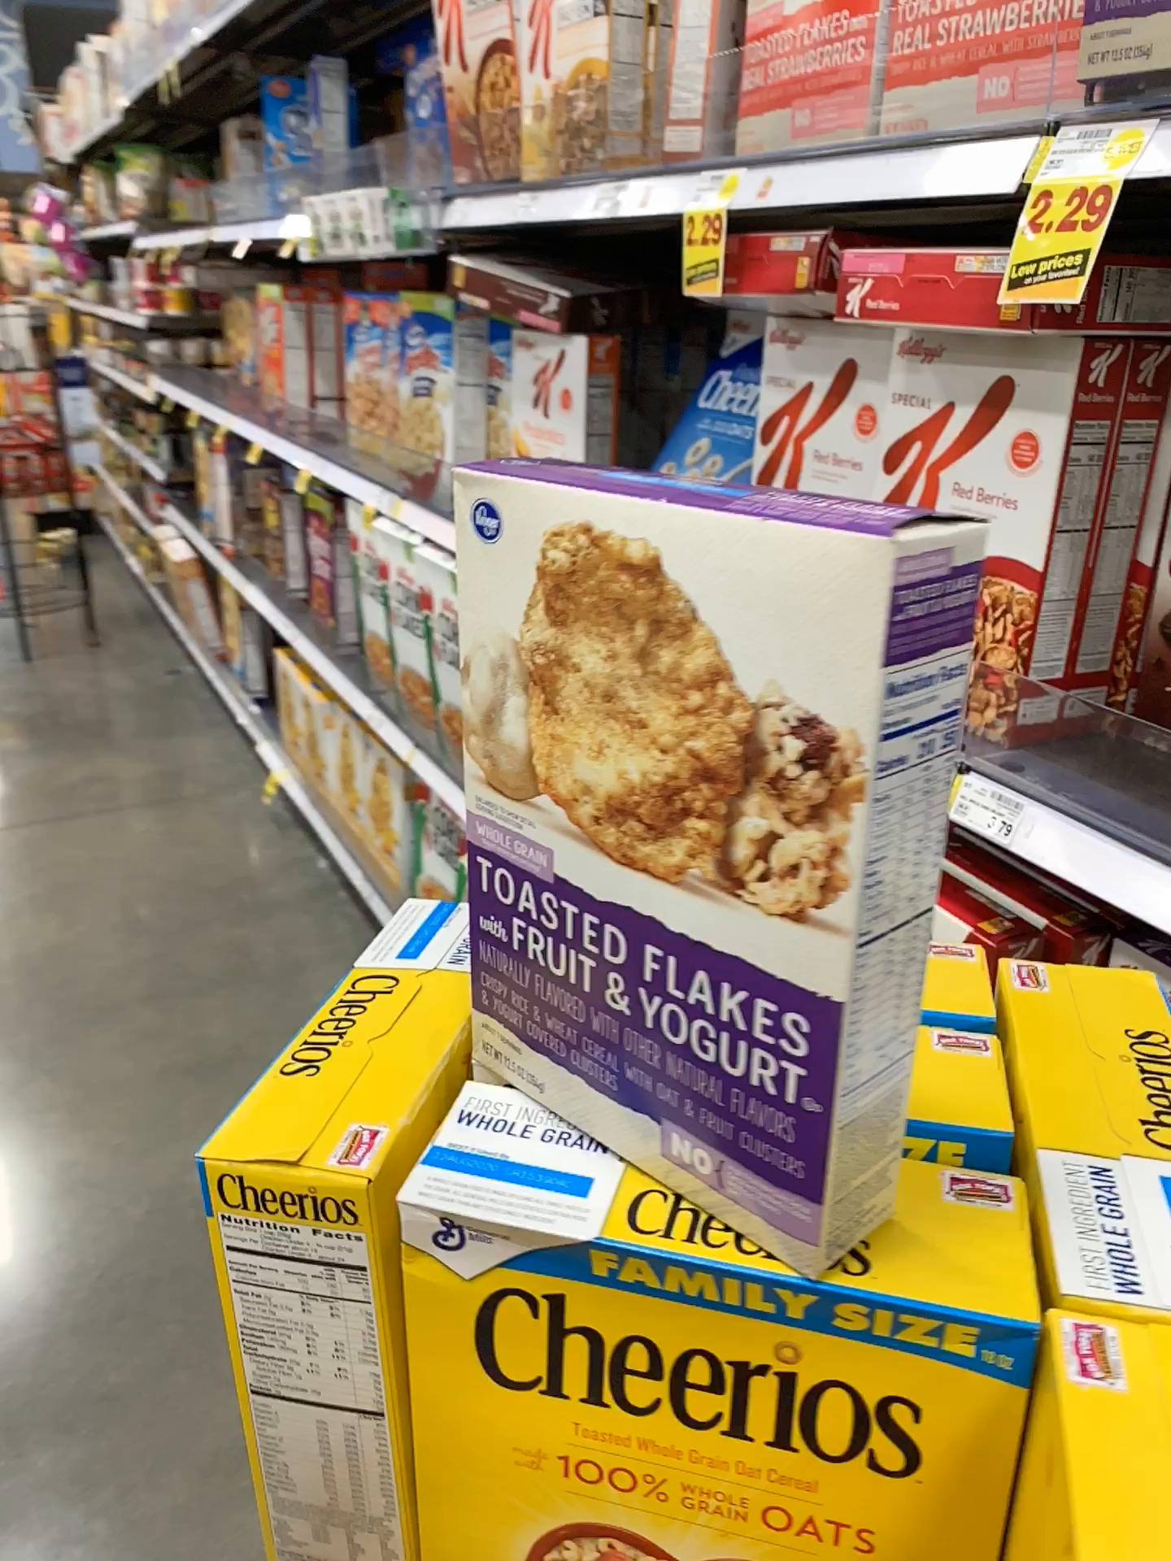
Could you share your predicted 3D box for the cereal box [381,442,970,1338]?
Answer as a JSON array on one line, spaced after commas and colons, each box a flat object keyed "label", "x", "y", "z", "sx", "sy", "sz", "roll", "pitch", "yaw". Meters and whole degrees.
[{"label": "cereal box", "x": 0.016, "y": 0.027, "z": 0.440, "sx": 0.060, "sy": 0.269, "sz": 0.201, "roll": -20, "pitch": 30, "yaw": -41}]
